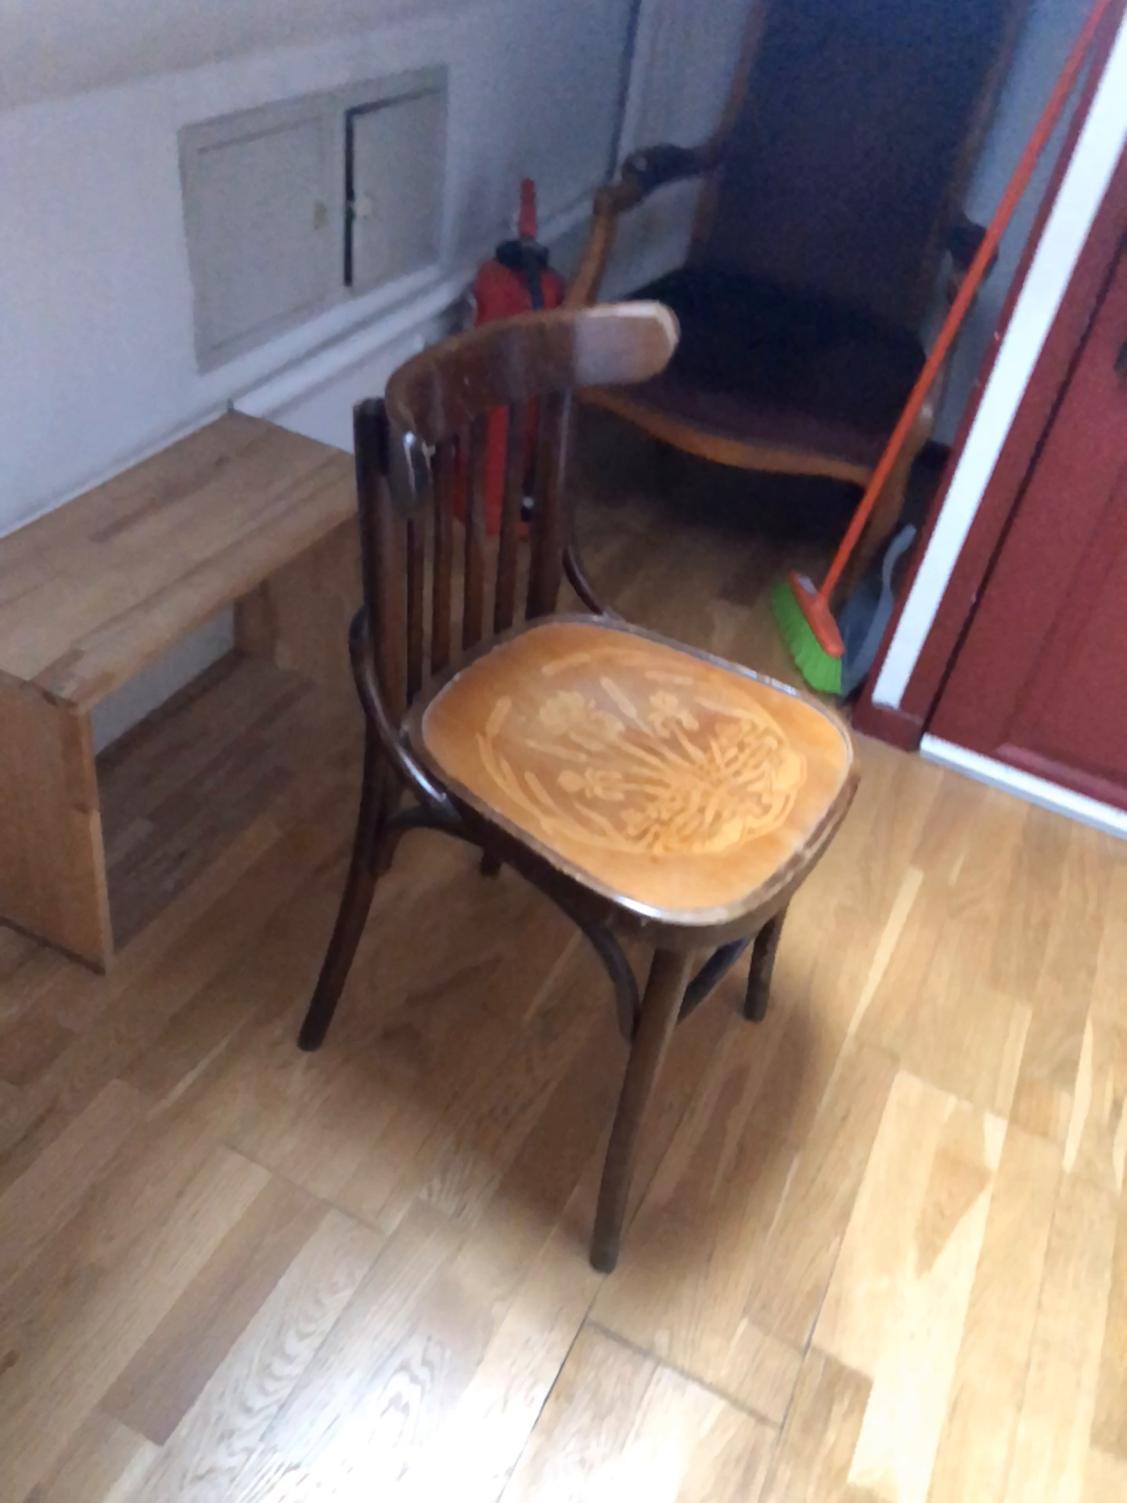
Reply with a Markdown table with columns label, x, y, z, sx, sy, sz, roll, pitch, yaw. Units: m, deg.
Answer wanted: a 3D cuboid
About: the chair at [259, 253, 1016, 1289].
| label | x | y | z | sx | sy | sz | roll | pitch | yaw |
| --- | --- | --- | --- | --- | --- | --- | --- | --- | --- |
| chair | 0.032 | 0.020 | 1.141 | 0.411 | 0.737 | 0.445 | 25 | 41 | 18 |
